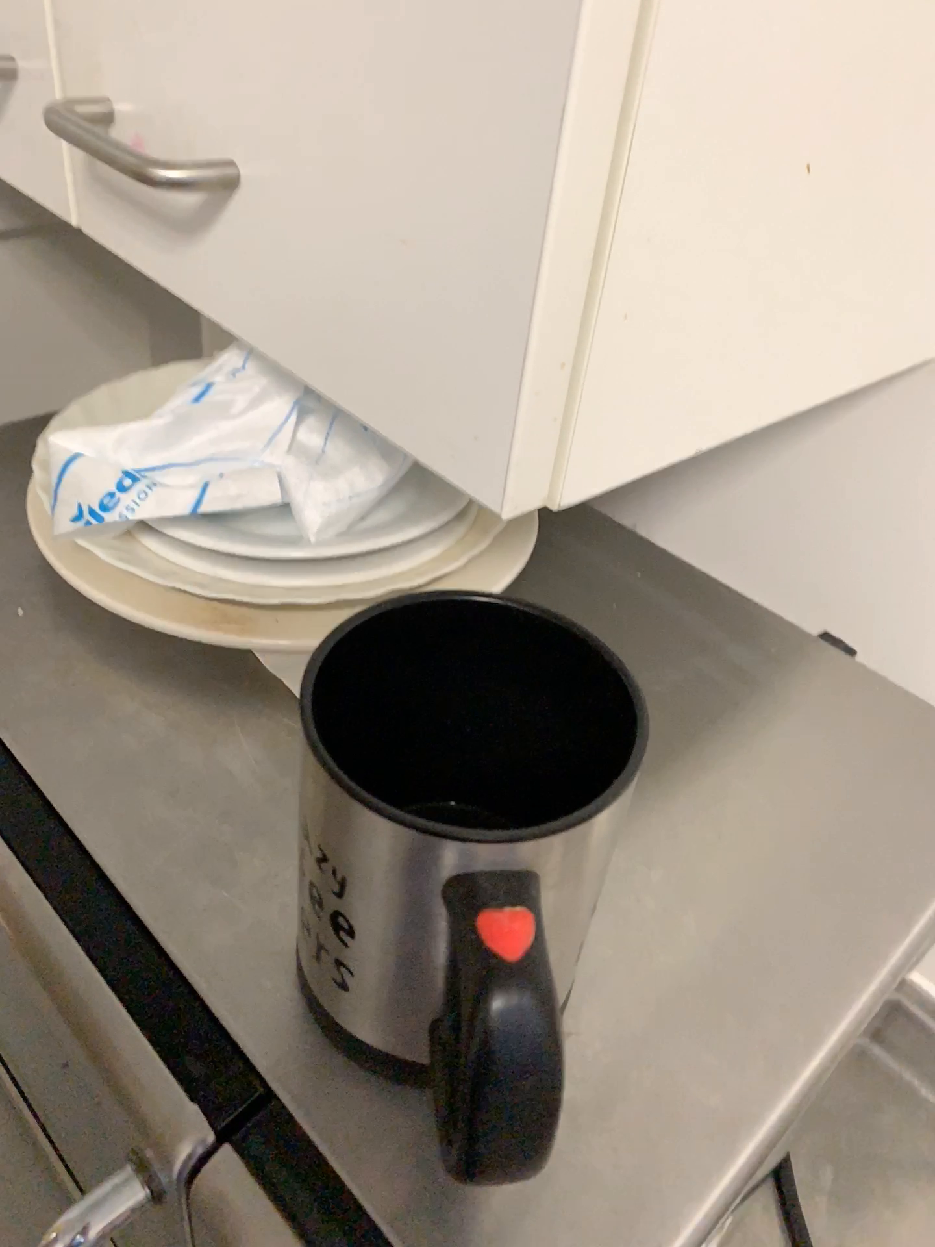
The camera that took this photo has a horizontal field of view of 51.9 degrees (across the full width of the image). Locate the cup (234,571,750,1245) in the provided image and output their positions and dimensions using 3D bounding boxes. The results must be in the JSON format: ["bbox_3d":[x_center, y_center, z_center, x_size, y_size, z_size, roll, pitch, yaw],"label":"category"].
[{"bbox_3d":[-0.003,0.071,0.261,0.096,0.108,0.134,4,37,-6],"label":"cup"}]
